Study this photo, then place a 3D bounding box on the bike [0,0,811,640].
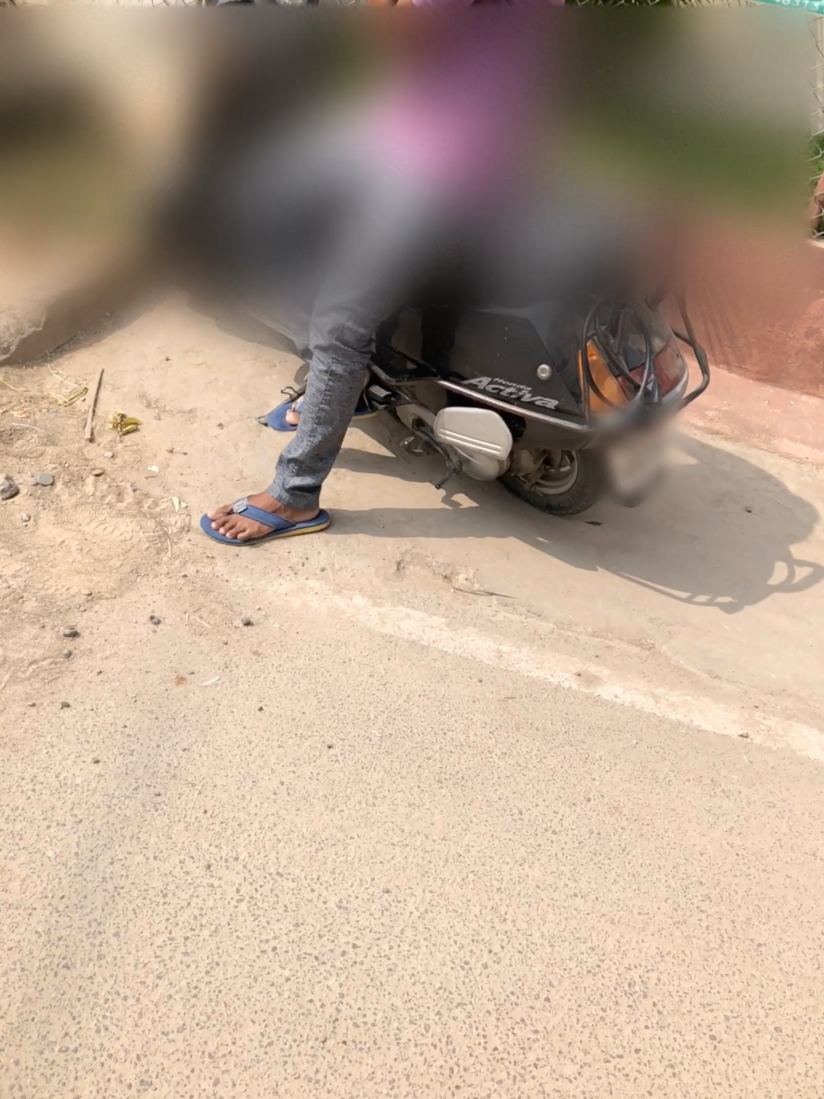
[{"bbox_3d":[-0.178,-0.775,2.082,1.548,1.152,0.712,31,40,25],"label":"bike"}]
